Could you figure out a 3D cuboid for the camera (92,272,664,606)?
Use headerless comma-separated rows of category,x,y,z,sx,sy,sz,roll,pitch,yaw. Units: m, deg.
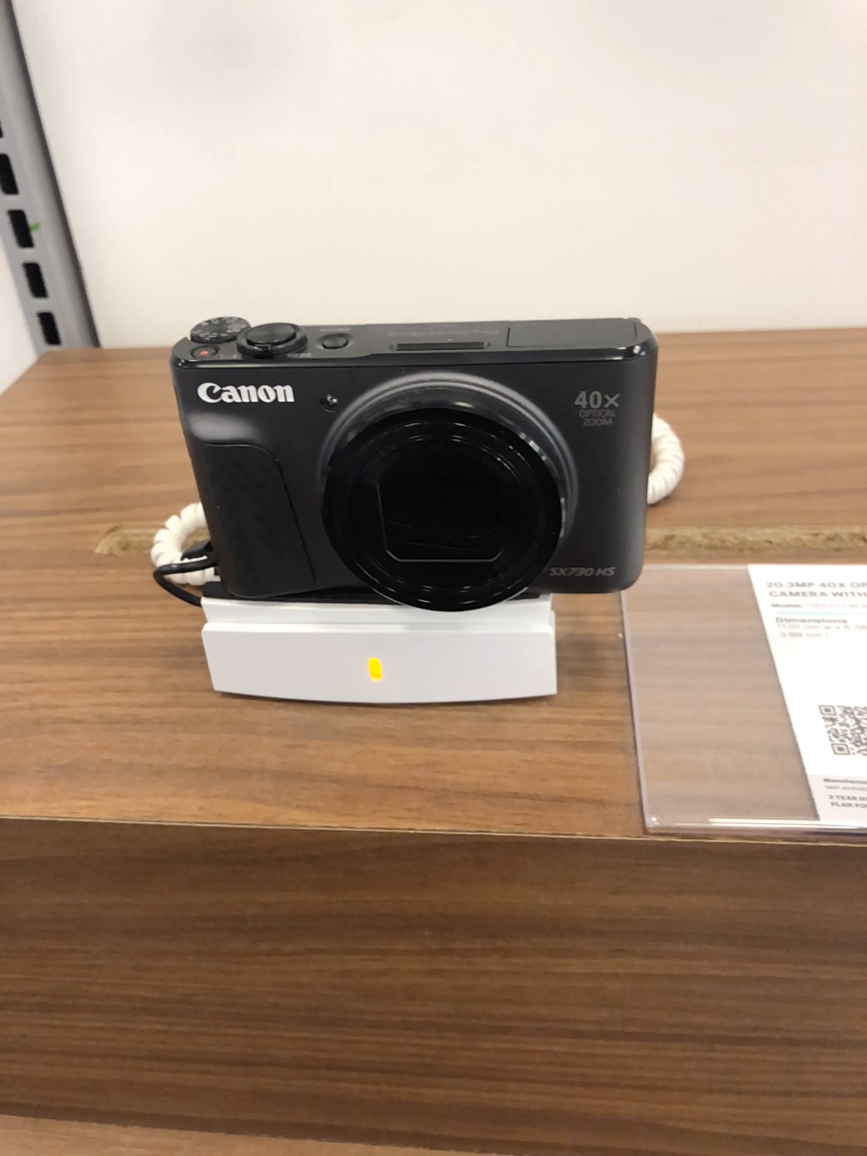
camera,-0.010,-0.032,0.233,0.120,0.070,0.030,1,34,8
